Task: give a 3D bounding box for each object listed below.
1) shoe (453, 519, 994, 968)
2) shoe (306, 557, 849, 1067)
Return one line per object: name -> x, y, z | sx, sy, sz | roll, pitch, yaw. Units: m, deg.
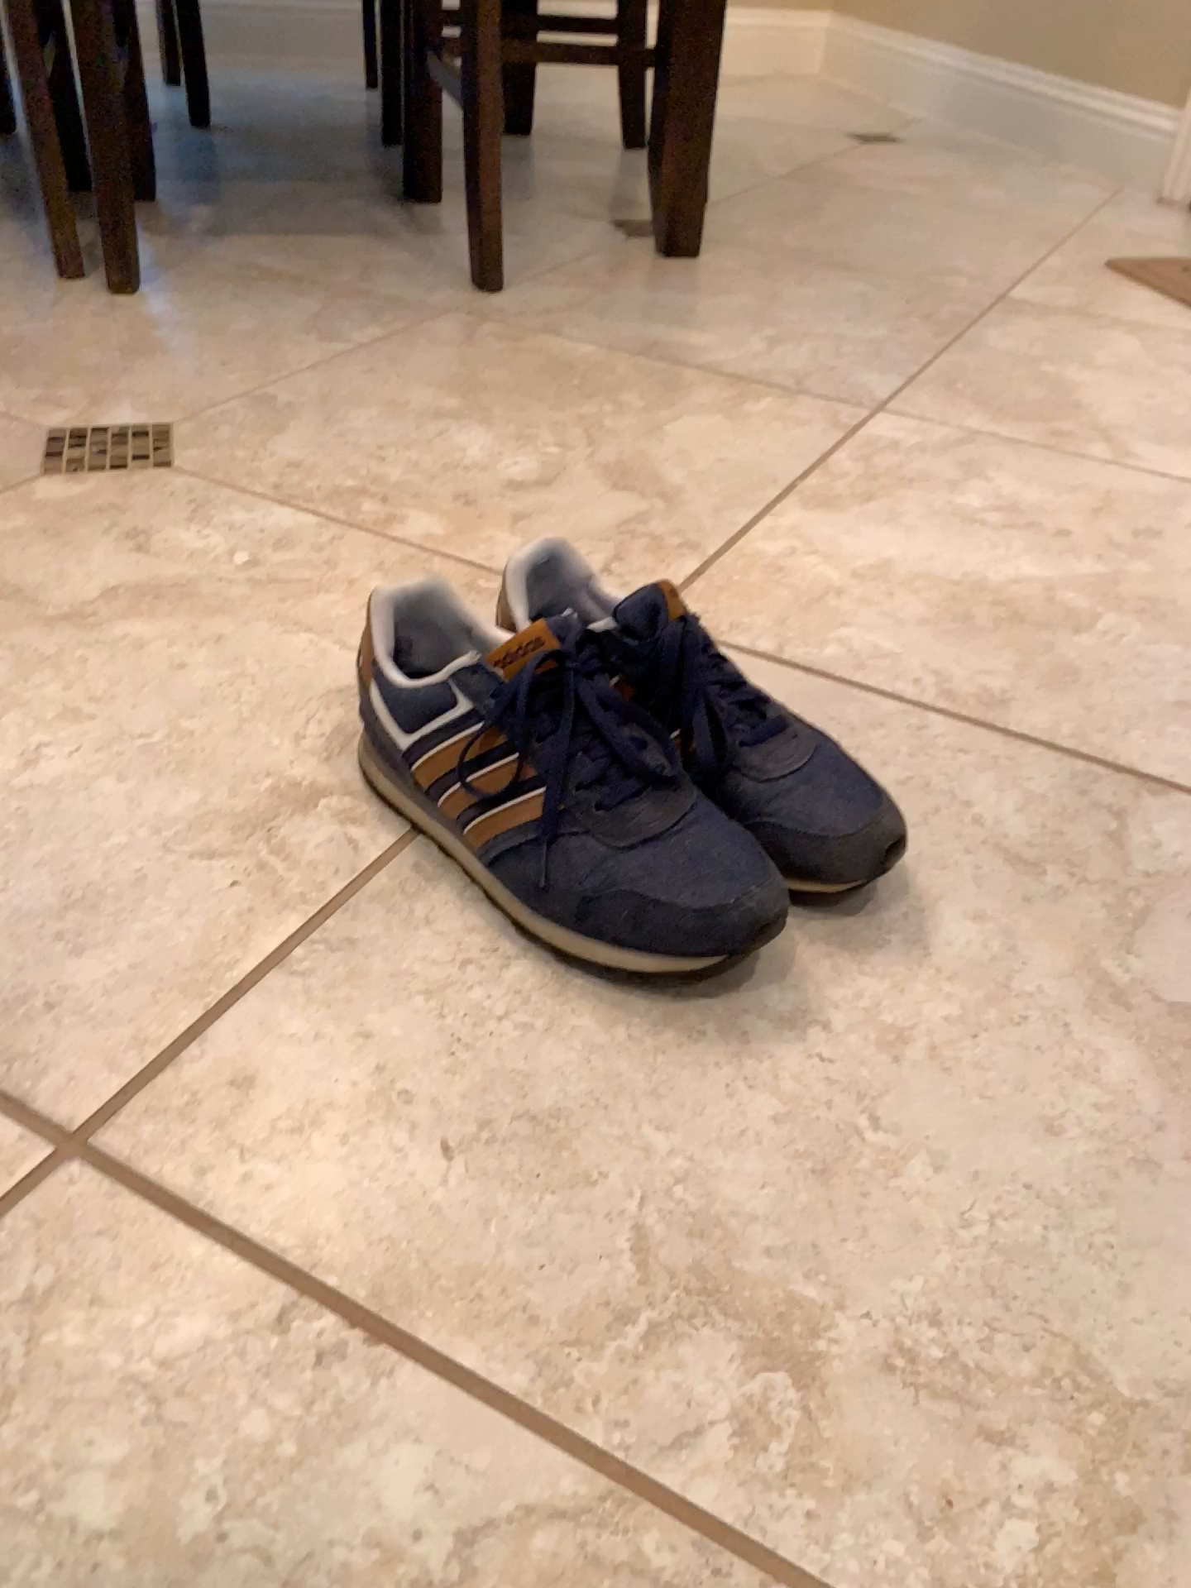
shoe -> 0.055, -0.042, 0.680 | 0.112, 0.102, 0.283 | -29, 48, -36
shoe -> -0.024, -0.008, 0.624 | 0.107, 0.102, 0.283 | -25, 46, -33
